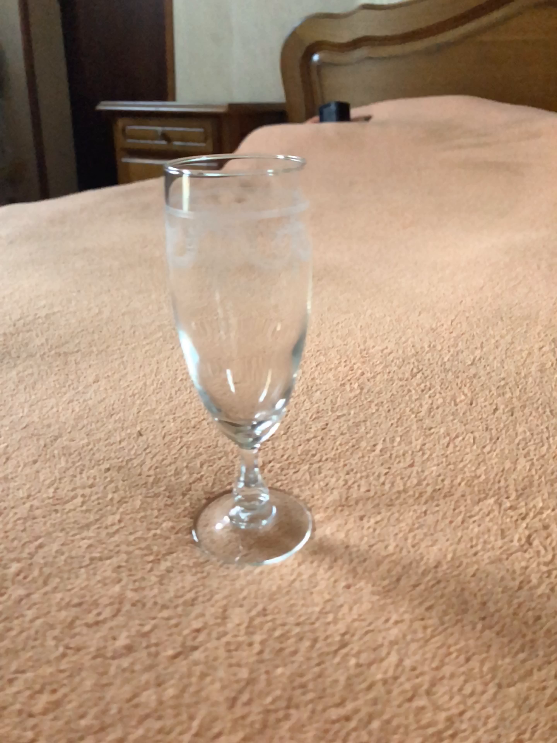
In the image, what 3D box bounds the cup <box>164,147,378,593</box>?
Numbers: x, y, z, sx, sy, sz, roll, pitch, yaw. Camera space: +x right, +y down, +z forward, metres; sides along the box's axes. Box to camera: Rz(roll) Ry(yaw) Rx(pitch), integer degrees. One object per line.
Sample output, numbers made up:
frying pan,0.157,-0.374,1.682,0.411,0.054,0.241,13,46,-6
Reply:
cup,-0.007,-0.002,0.243,0.060,0.159,0.060,1,23,0
